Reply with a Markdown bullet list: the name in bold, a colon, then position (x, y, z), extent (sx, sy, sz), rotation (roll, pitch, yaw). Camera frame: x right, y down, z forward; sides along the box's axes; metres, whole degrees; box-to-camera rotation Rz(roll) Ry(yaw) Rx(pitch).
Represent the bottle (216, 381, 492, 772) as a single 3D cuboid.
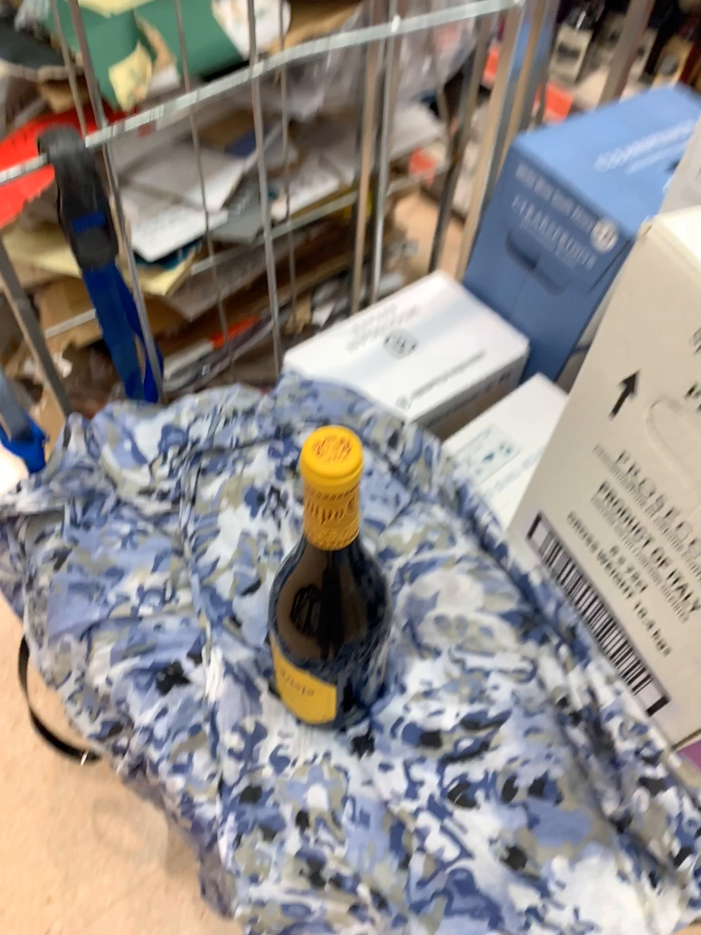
- **bottle**: position (-0.008, 0.085, 0.434), extent (0.090, 0.270, 0.091), rotation (2, 55, -3)
